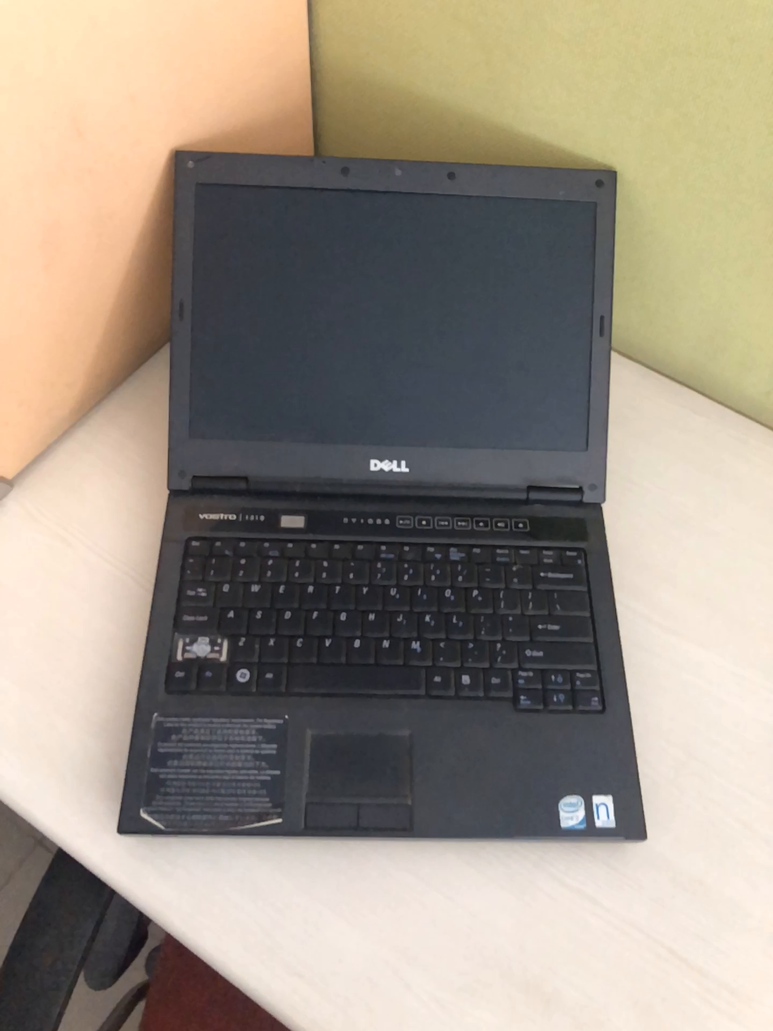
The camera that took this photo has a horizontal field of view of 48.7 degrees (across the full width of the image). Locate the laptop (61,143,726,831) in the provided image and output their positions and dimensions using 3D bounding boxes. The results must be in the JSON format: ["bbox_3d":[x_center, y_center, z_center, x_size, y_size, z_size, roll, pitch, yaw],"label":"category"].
[{"bbox_3d":[0.005,-0.037,0.550,0.305,0.125,0.432,1,61,-2],"label":"laptop"}]
